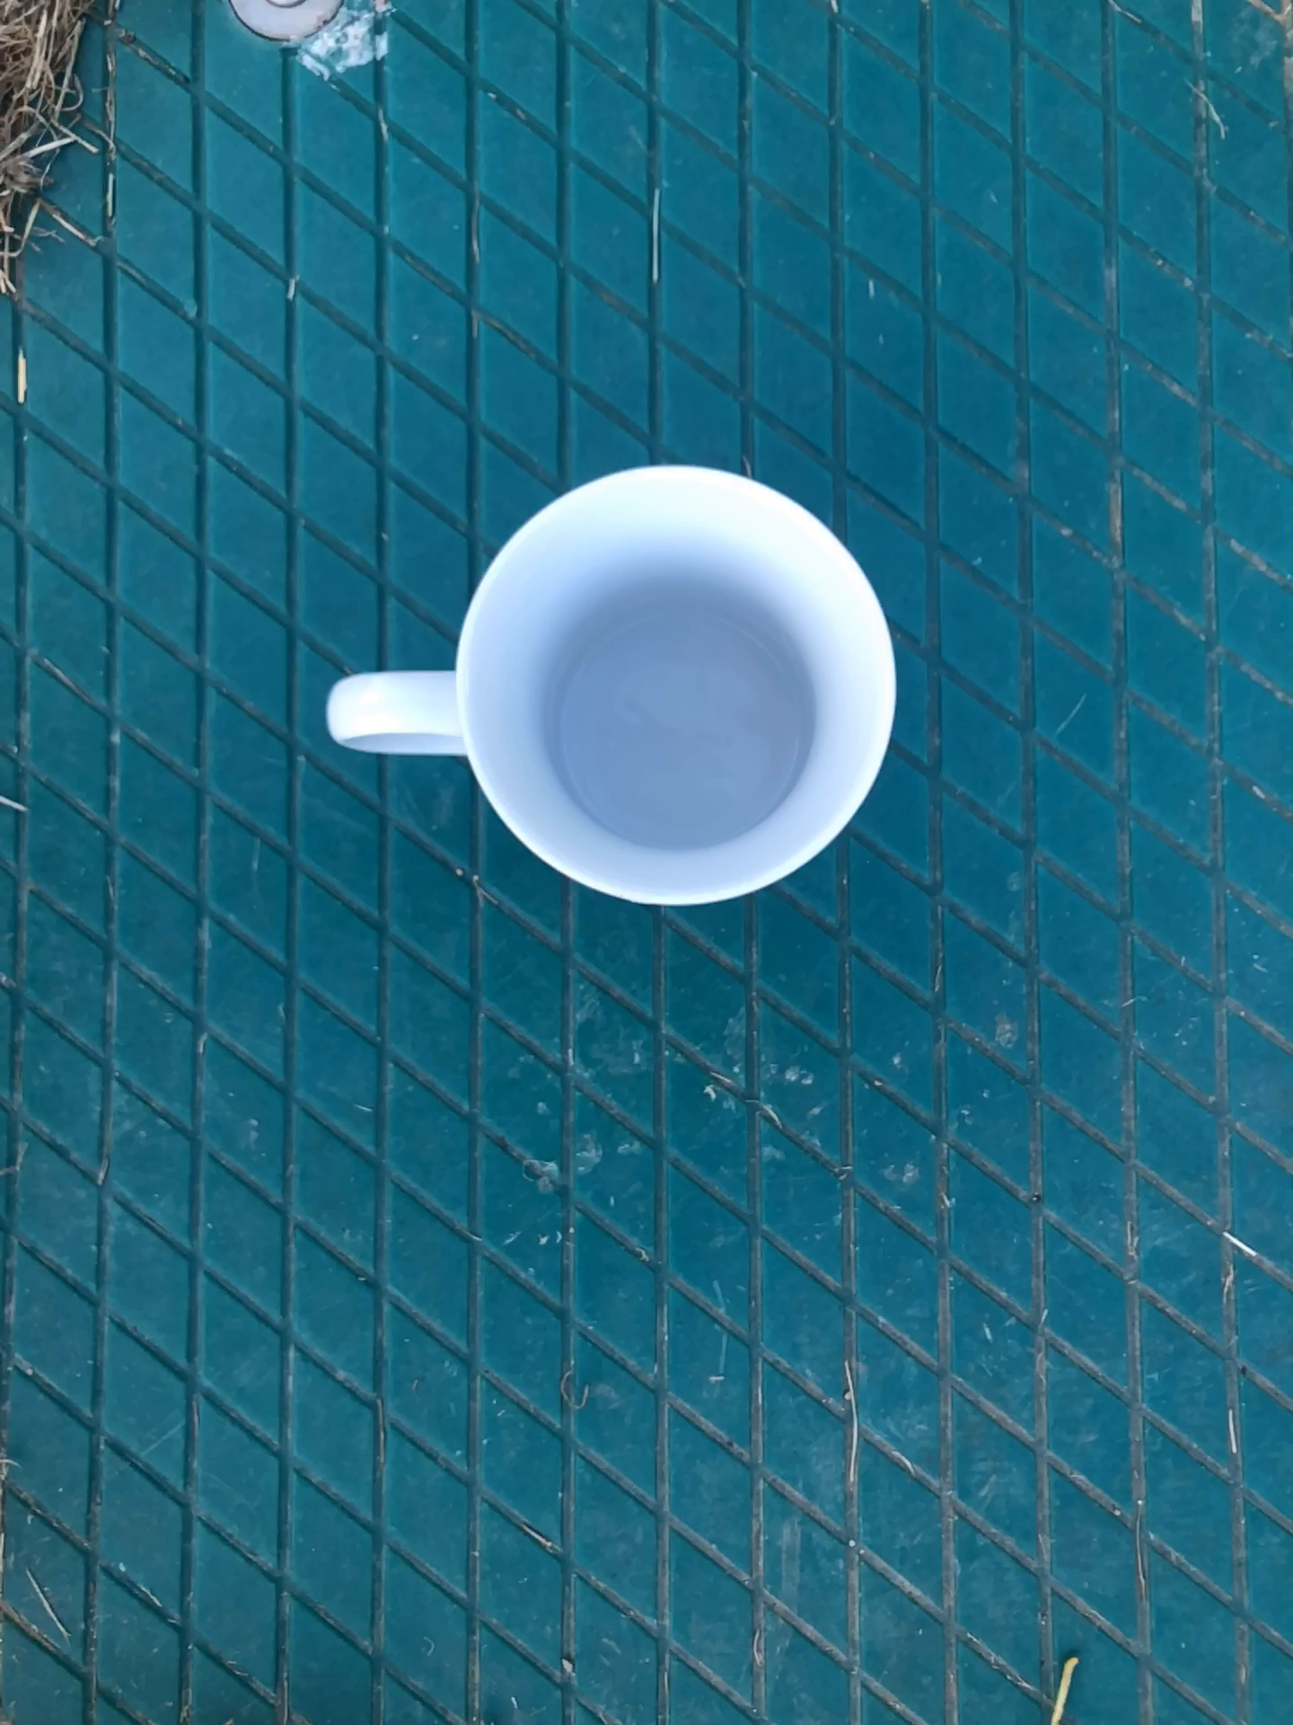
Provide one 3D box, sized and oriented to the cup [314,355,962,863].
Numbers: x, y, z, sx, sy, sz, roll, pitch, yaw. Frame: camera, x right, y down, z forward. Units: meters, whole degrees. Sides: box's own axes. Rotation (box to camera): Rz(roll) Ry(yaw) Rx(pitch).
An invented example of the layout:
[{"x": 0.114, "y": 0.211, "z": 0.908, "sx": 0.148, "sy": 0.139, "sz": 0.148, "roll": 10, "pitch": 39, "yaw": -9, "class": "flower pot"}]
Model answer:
[{"x": -0.001, "y": -0.044, "z": 0.282, "sx": 0.110, "sy": 0.071, "sz": 0.082, "roll": -1, "pitch": 87, "yaw": 1, "class": "cup"}]
